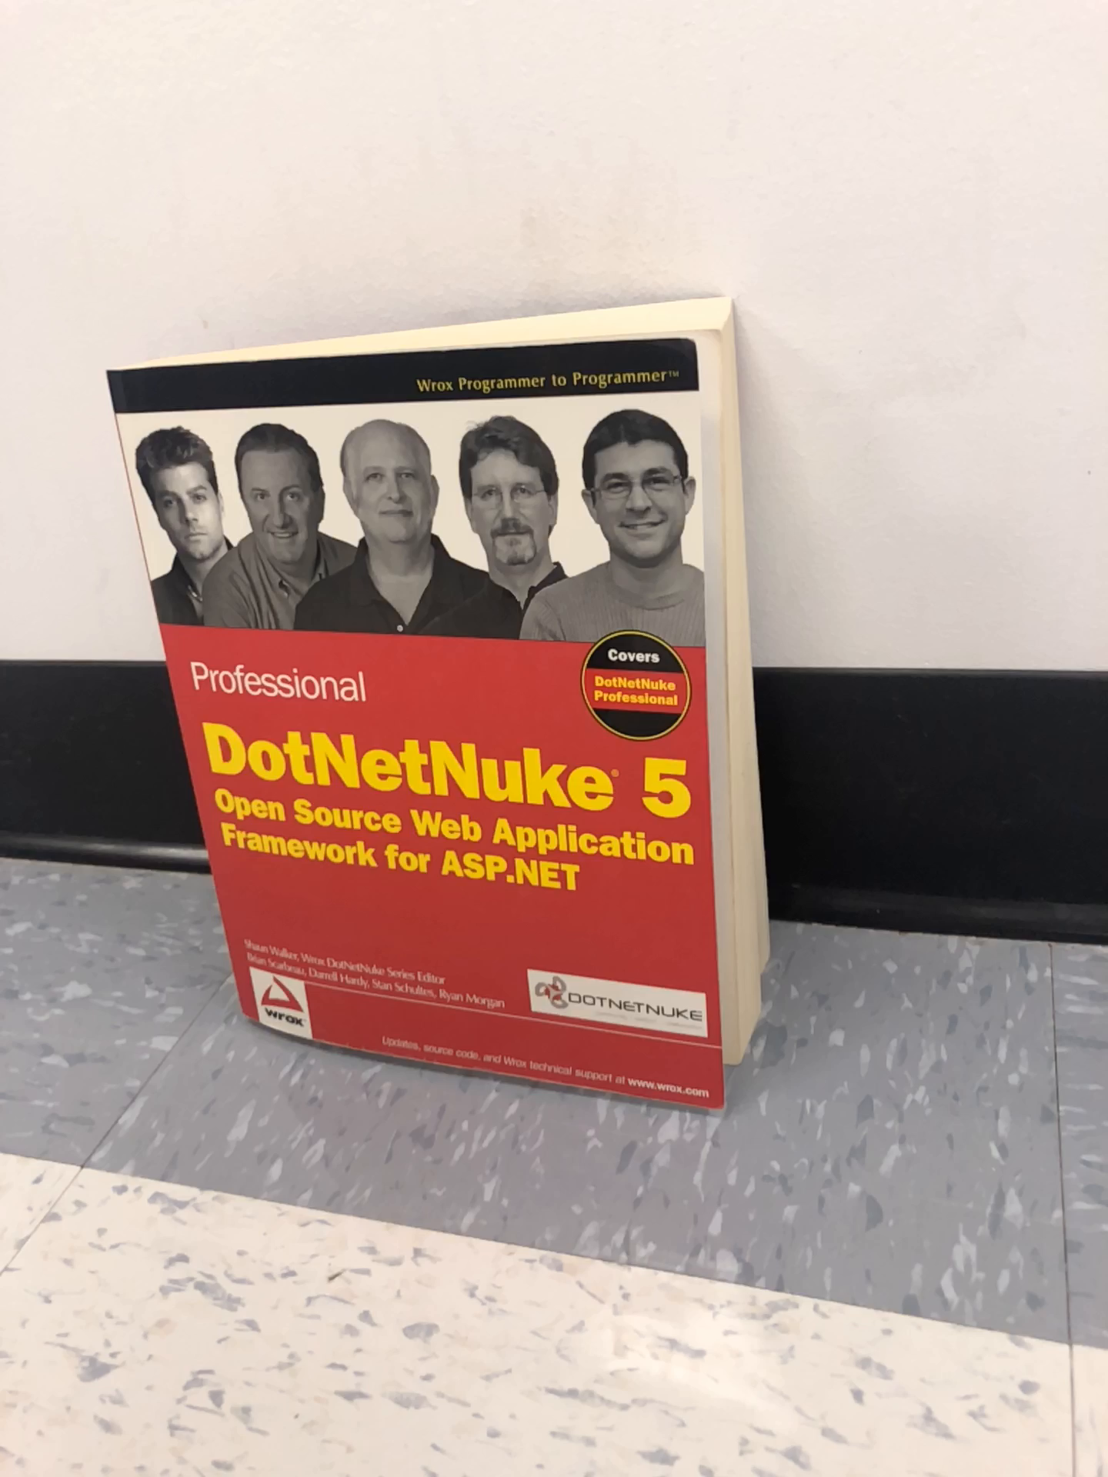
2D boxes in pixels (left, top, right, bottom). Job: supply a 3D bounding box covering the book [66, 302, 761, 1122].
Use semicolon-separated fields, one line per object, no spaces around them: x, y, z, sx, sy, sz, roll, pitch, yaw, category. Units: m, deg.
-0.041;-0.011;0.423;0.210;0.249;0.060;4;20;23;book
